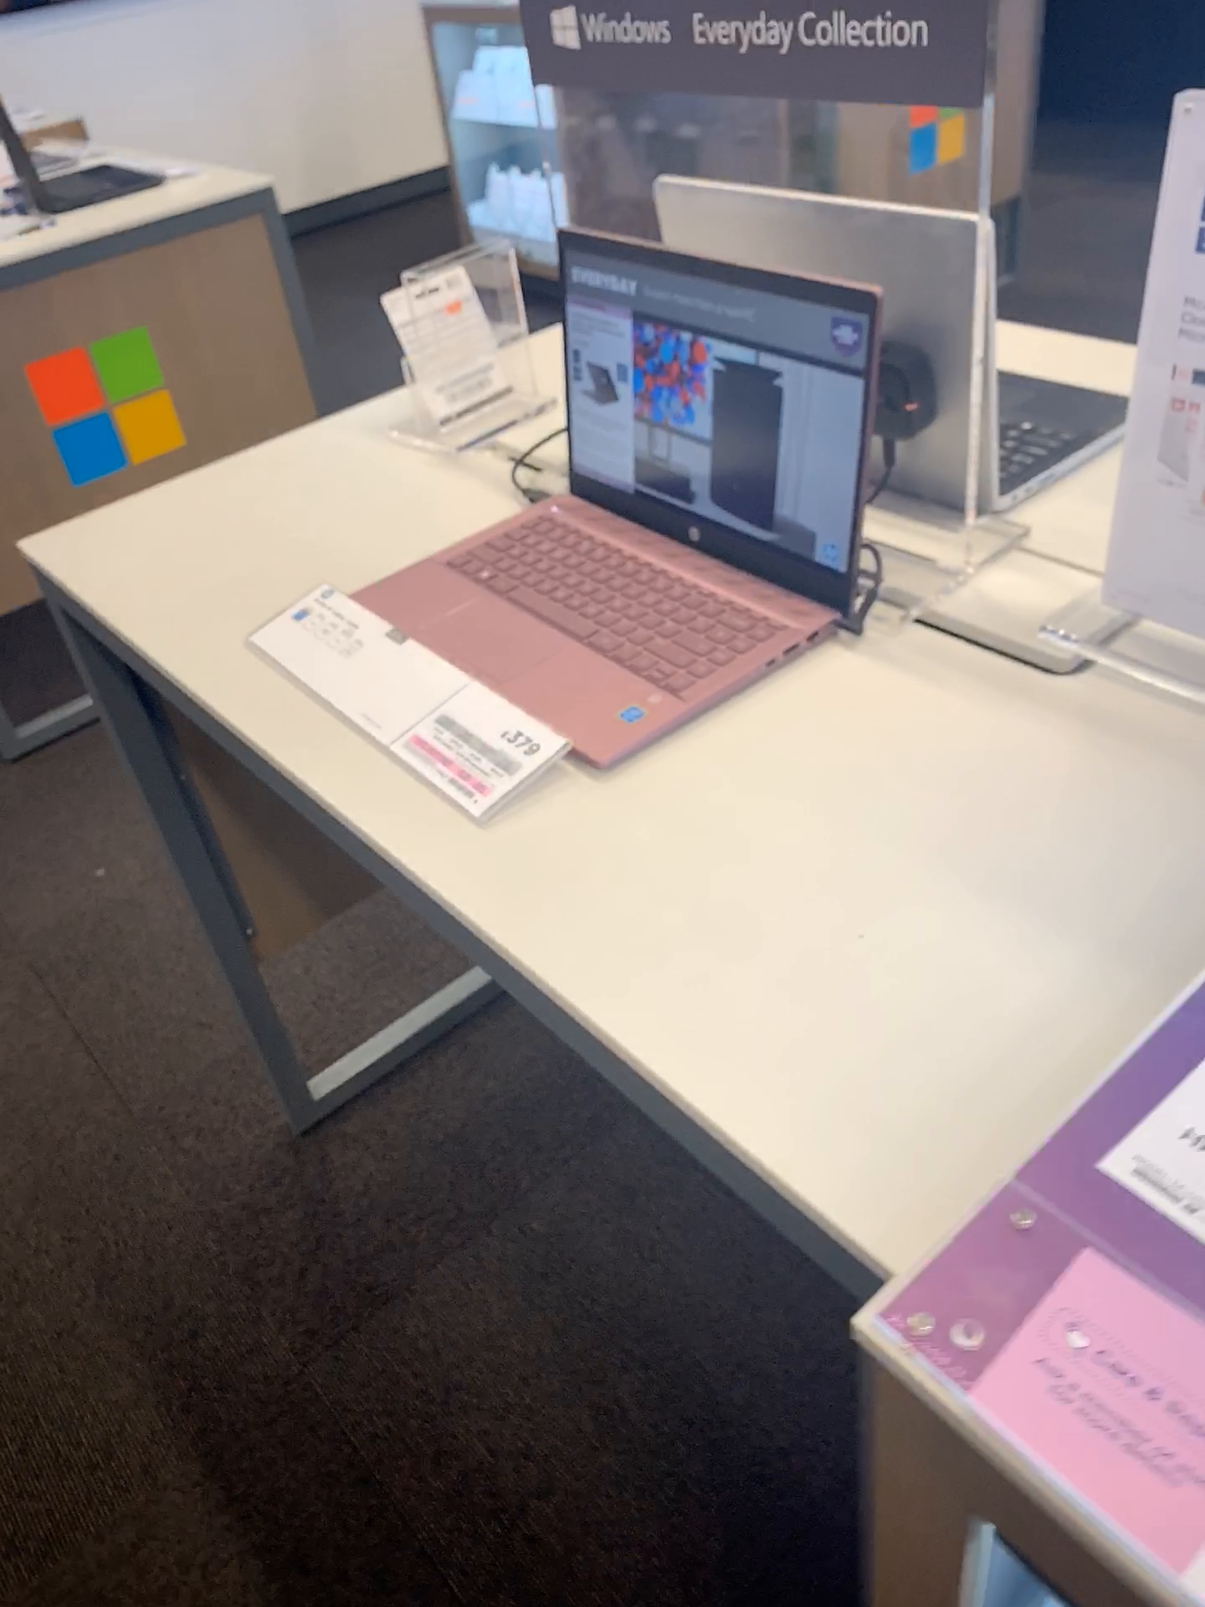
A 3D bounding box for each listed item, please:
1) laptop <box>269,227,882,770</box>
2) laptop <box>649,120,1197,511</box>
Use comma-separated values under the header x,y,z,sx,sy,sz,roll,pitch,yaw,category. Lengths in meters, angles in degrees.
x,y,z,sx,sy,sz,roll,pitch,yaw,category
-0.018,-0.226,0.838,0.250,0.200,0.314,-31,43,-25,laptop
0.242,-0.407,0.998,0.244,0.186,0.326,-31,43,-27,laptop
